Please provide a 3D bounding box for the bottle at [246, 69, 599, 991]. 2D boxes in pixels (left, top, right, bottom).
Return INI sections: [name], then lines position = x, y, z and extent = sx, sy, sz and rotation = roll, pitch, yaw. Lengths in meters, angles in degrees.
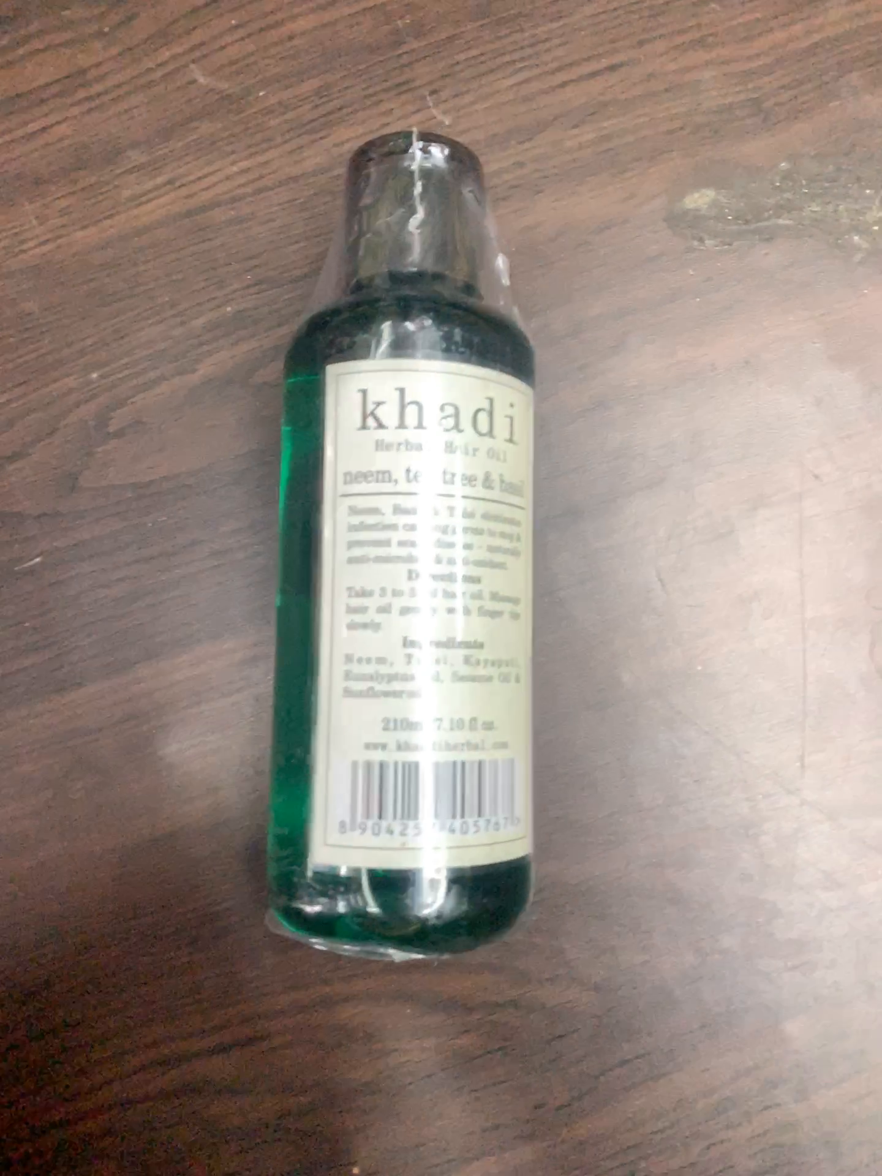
[bottle]
position = -0.005, -0.010, 0.180
extent = 0.050, 0.050, 0.150
rotation = 4, 83, -26
